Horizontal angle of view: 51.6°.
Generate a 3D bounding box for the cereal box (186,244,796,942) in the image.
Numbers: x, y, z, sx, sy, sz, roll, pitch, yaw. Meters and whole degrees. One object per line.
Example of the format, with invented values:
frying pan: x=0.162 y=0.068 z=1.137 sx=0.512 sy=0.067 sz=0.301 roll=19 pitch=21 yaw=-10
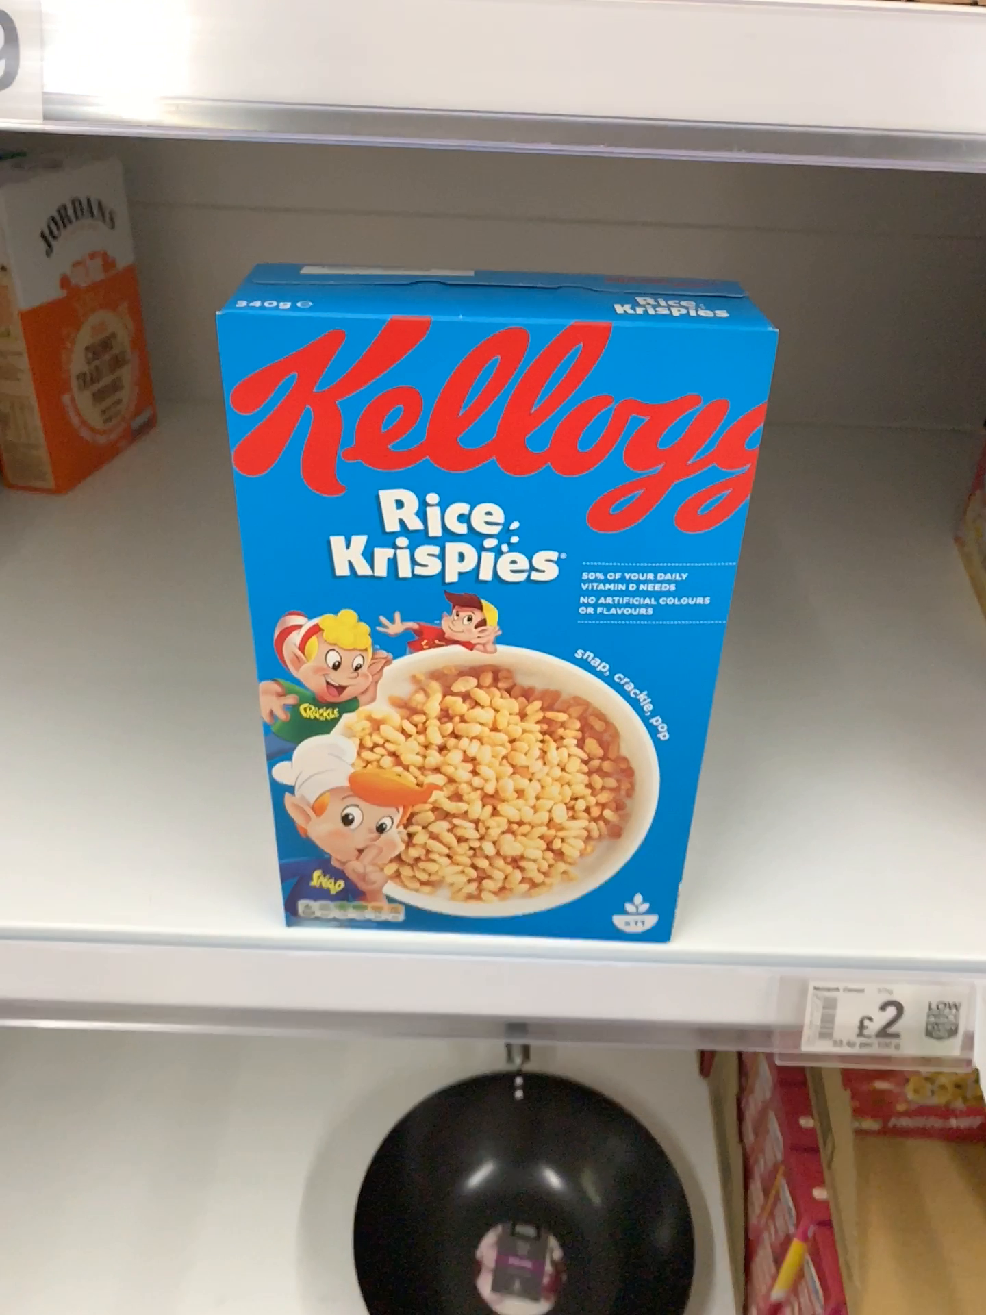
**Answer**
cereal box: x=-0.005 y=-0.011 z=0.444 sx=0.200 sy=0.297 sz=0.071 roll=3 pitch=33 yaw=0
